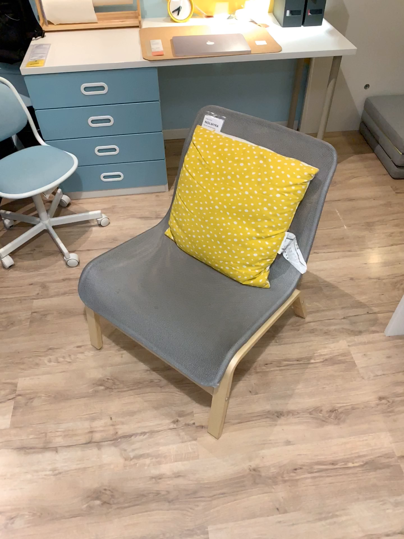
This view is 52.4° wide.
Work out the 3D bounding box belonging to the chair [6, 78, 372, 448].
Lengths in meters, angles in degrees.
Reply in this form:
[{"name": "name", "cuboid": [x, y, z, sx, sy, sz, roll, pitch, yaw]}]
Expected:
[{"name": "chair", "cuboid": [-0.009, -0.058, 1.269, 0.631, 0.707, 0.671, 28, 51, 26]}]
